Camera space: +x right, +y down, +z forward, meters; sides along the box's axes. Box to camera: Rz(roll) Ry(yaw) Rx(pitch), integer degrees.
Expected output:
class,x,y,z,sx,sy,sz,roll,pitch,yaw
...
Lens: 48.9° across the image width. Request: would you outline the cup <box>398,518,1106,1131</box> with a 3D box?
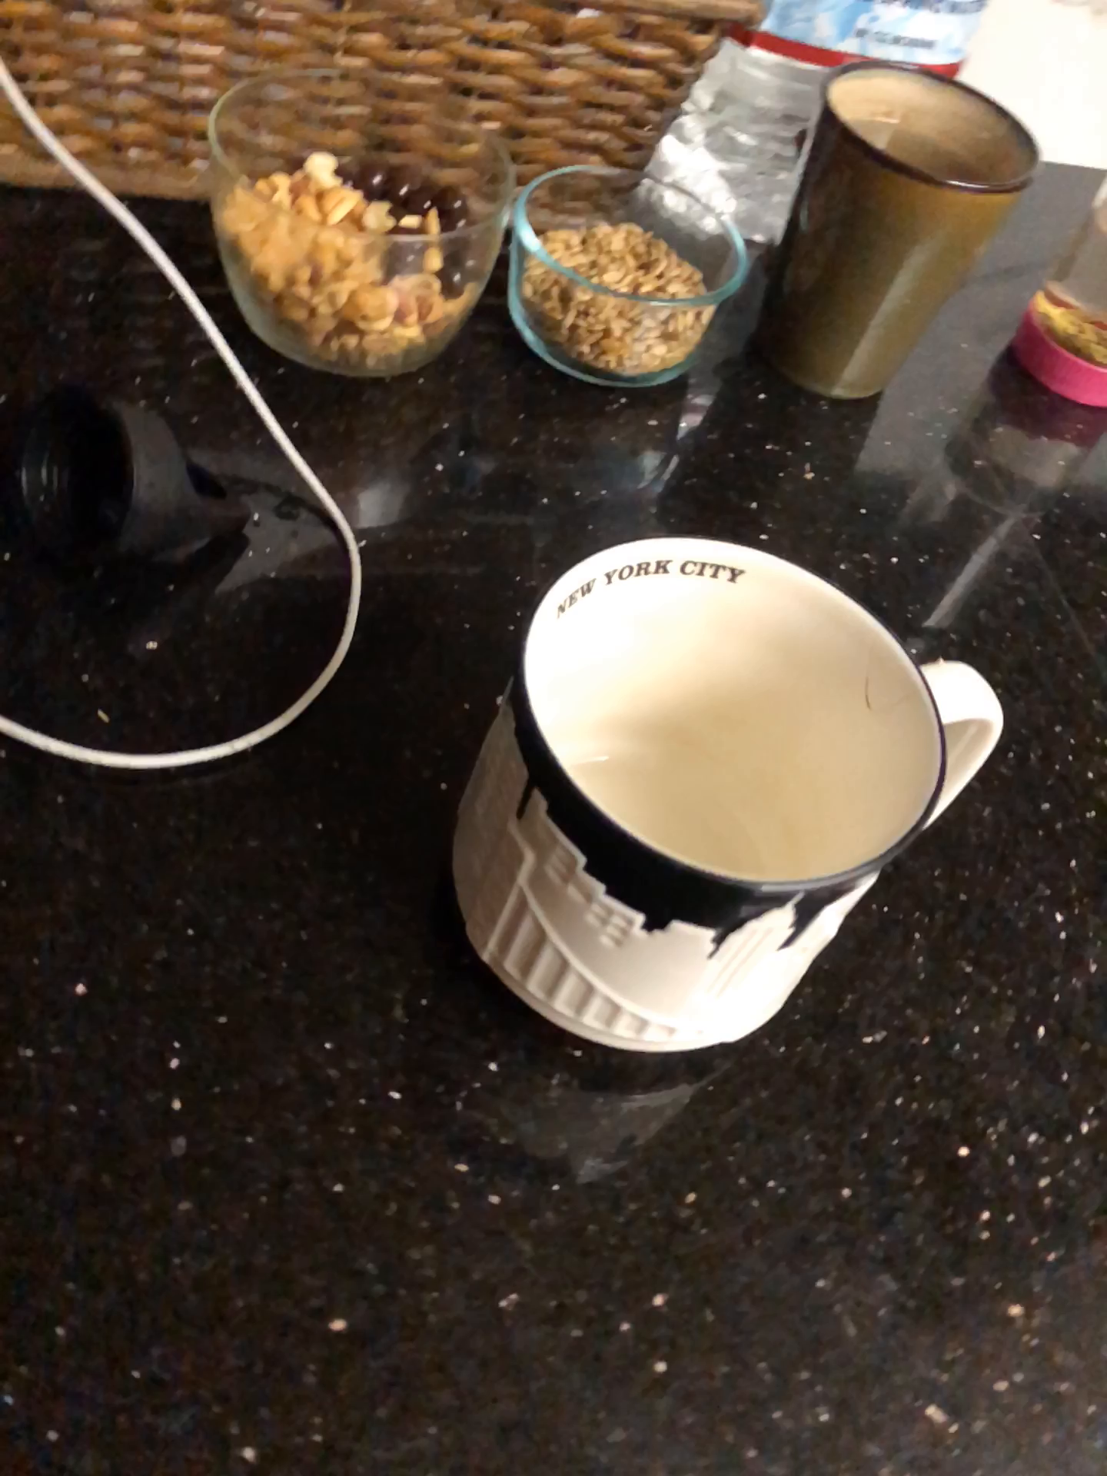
class,x,y,z,sx,sy,sz,roll,pitch,yaw
cup,0.048,0.018,0.321,0.150,0.090,0.120,-3,54,-18
